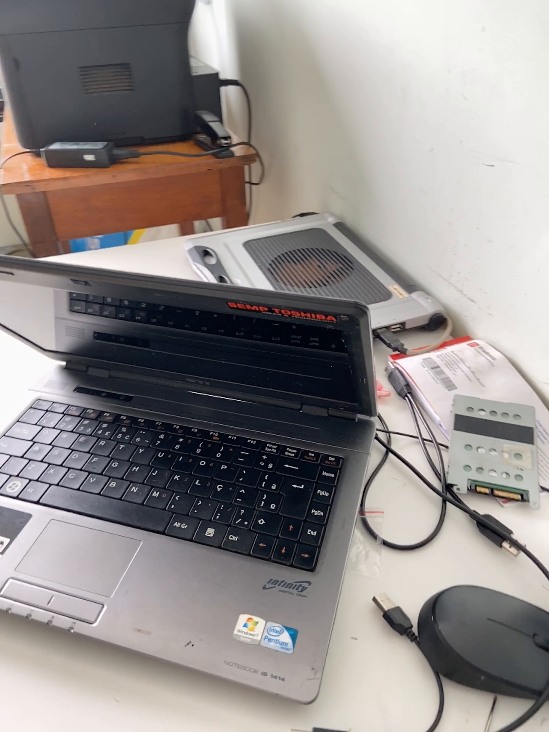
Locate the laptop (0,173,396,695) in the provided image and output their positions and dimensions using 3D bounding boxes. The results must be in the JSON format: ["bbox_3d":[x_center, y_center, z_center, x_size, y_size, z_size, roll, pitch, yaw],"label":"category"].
[{"bbox_3d":[-0.109,0.015,0.409,0.342,0.200,0.243,9,39,14],"label":"laptop"}]
